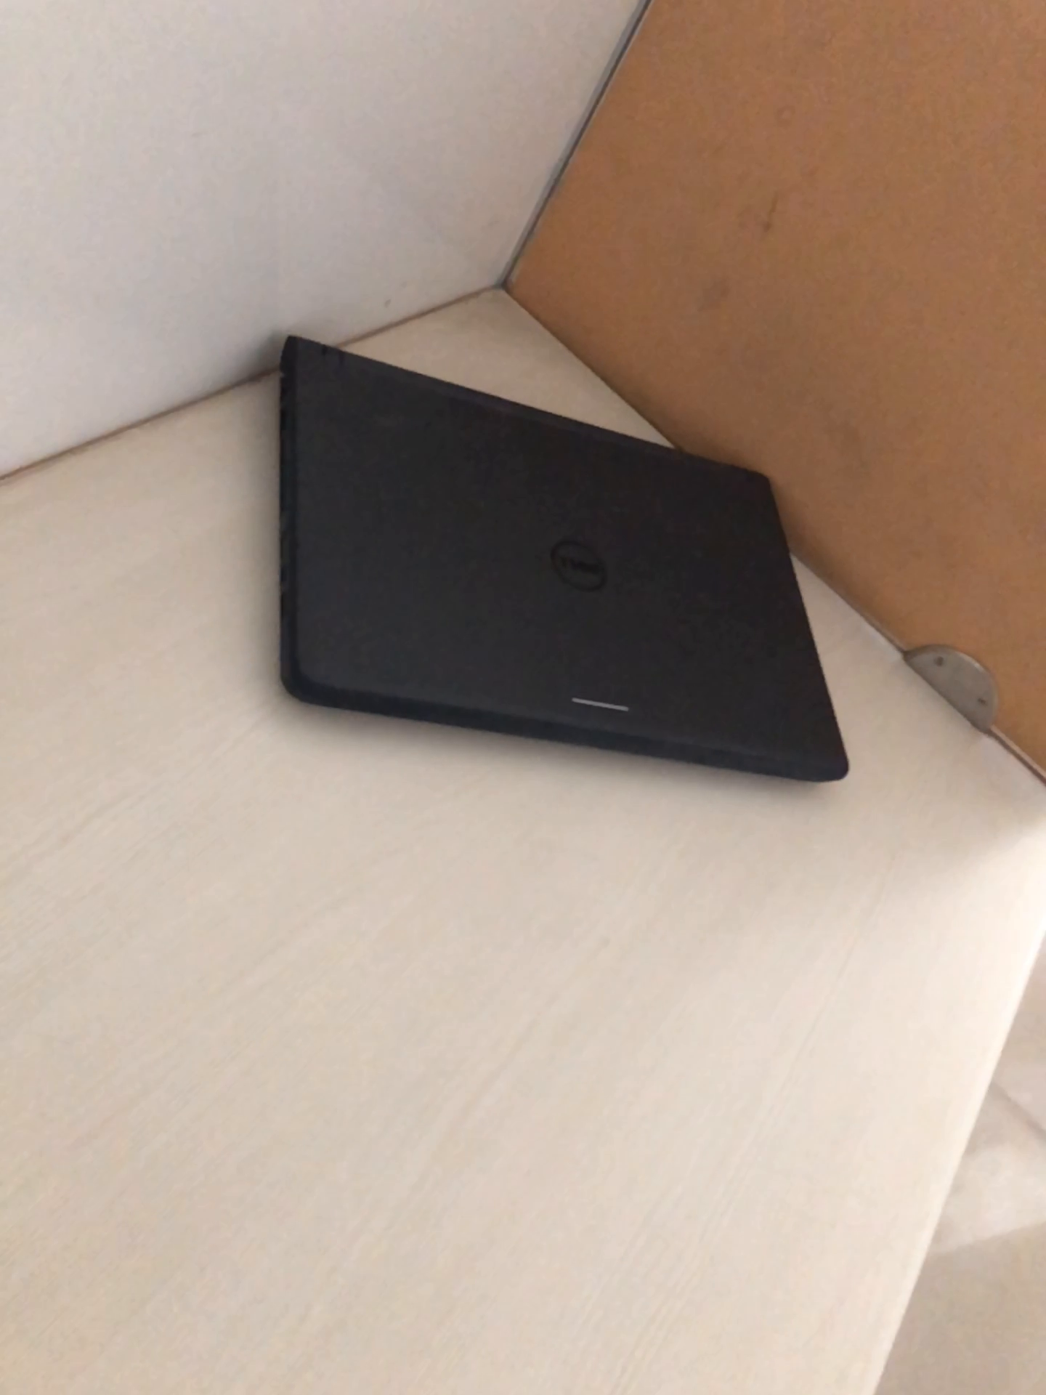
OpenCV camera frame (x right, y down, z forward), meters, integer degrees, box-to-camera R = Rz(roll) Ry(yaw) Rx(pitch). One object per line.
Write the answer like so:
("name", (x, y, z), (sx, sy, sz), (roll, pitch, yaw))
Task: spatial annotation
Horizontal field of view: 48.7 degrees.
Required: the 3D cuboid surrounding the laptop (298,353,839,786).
("laptop", (0.023, -0.071, 0.637), (0.290, 0.007, 0.228), (9, 52, -24))
